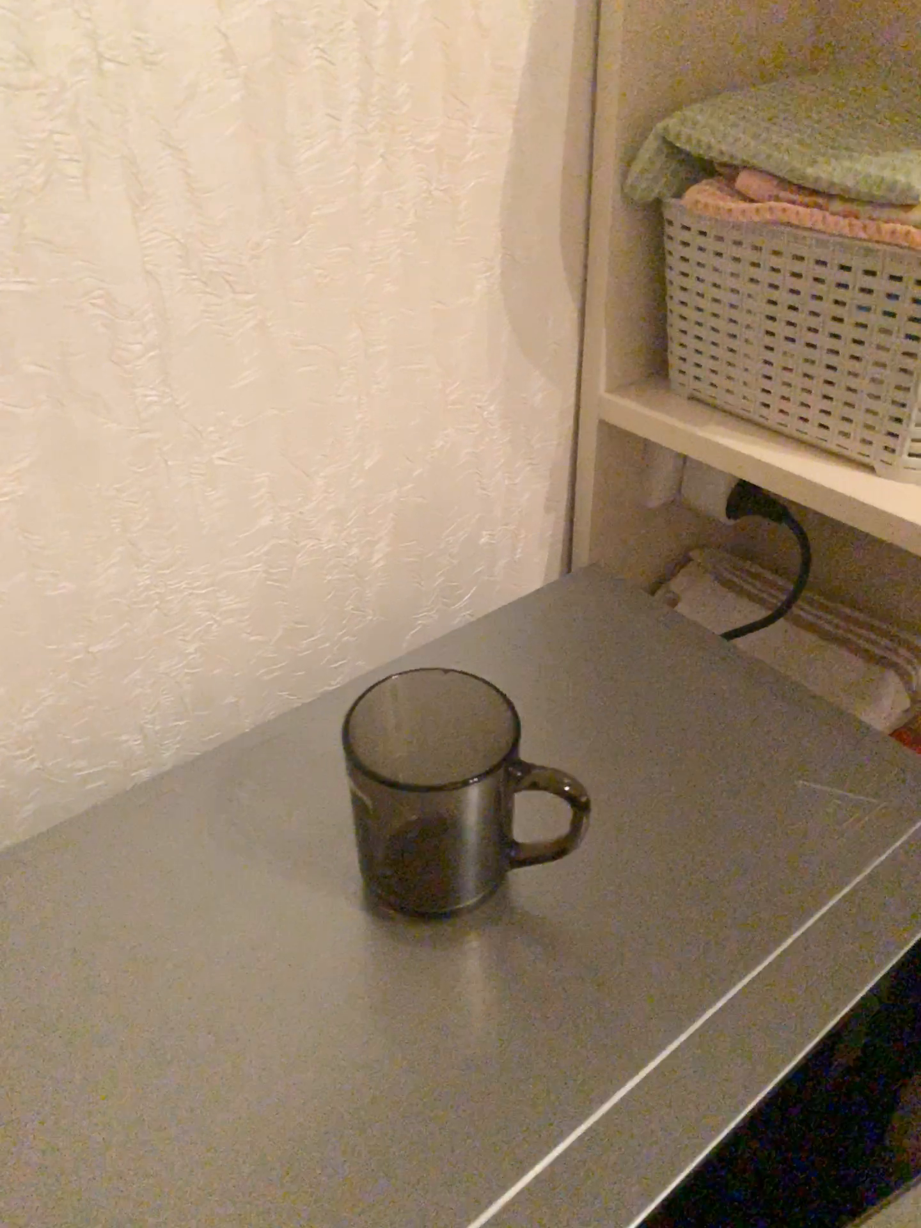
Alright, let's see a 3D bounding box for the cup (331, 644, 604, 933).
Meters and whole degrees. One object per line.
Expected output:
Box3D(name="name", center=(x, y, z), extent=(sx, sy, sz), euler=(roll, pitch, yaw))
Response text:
Box3D(name="cup", center=(0.005, 0.074, 0.407), extent=(0.101, 0.094, 0.078), euler=(0, 35, 3))
